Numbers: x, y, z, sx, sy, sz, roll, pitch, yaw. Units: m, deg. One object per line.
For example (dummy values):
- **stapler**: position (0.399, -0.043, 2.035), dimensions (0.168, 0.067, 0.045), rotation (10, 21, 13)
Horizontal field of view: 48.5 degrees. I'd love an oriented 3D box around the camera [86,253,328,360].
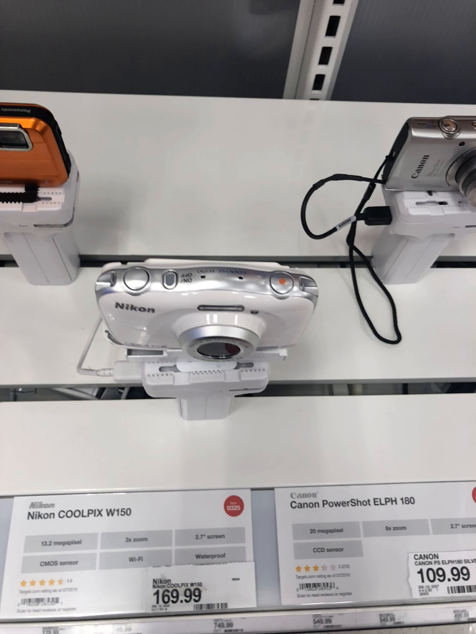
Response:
- **camera**: position (-0.015, -0.004, 0.262), dimensions (0.105, 0.056, 0.032), rotation (-1, 65, -5)
